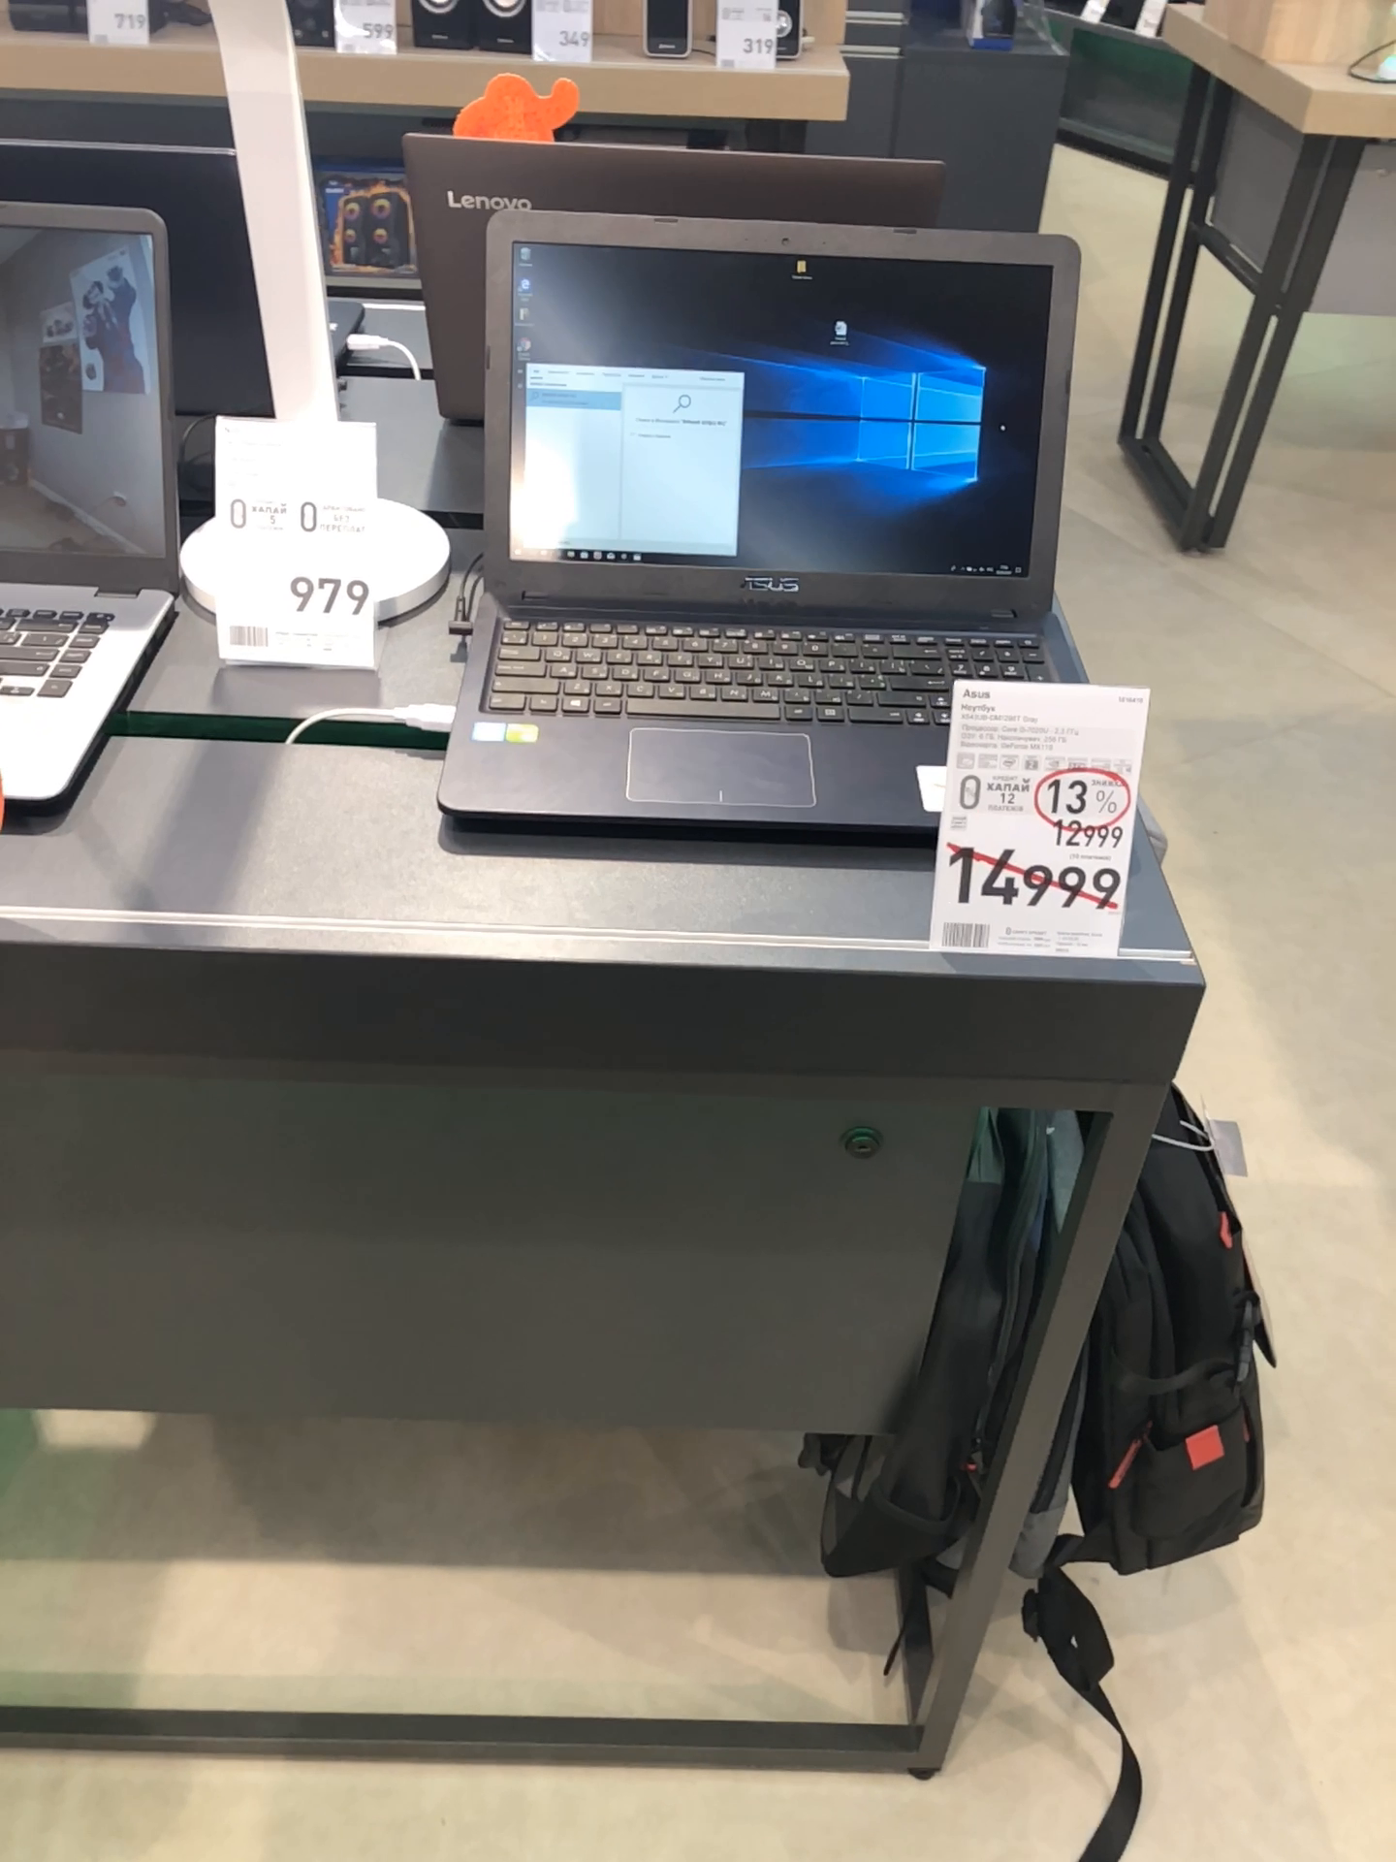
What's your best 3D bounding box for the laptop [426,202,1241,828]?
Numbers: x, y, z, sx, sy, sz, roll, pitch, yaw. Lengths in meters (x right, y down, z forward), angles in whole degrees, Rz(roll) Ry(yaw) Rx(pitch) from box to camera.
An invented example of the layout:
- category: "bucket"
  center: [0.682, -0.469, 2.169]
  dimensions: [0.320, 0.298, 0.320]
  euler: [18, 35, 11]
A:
- category: "laptop"
  center: [0.059, -0.265, 0.921]
  dimensions: [0.380, 0.209, 0.372]
  euler: [2, 40, -1]
